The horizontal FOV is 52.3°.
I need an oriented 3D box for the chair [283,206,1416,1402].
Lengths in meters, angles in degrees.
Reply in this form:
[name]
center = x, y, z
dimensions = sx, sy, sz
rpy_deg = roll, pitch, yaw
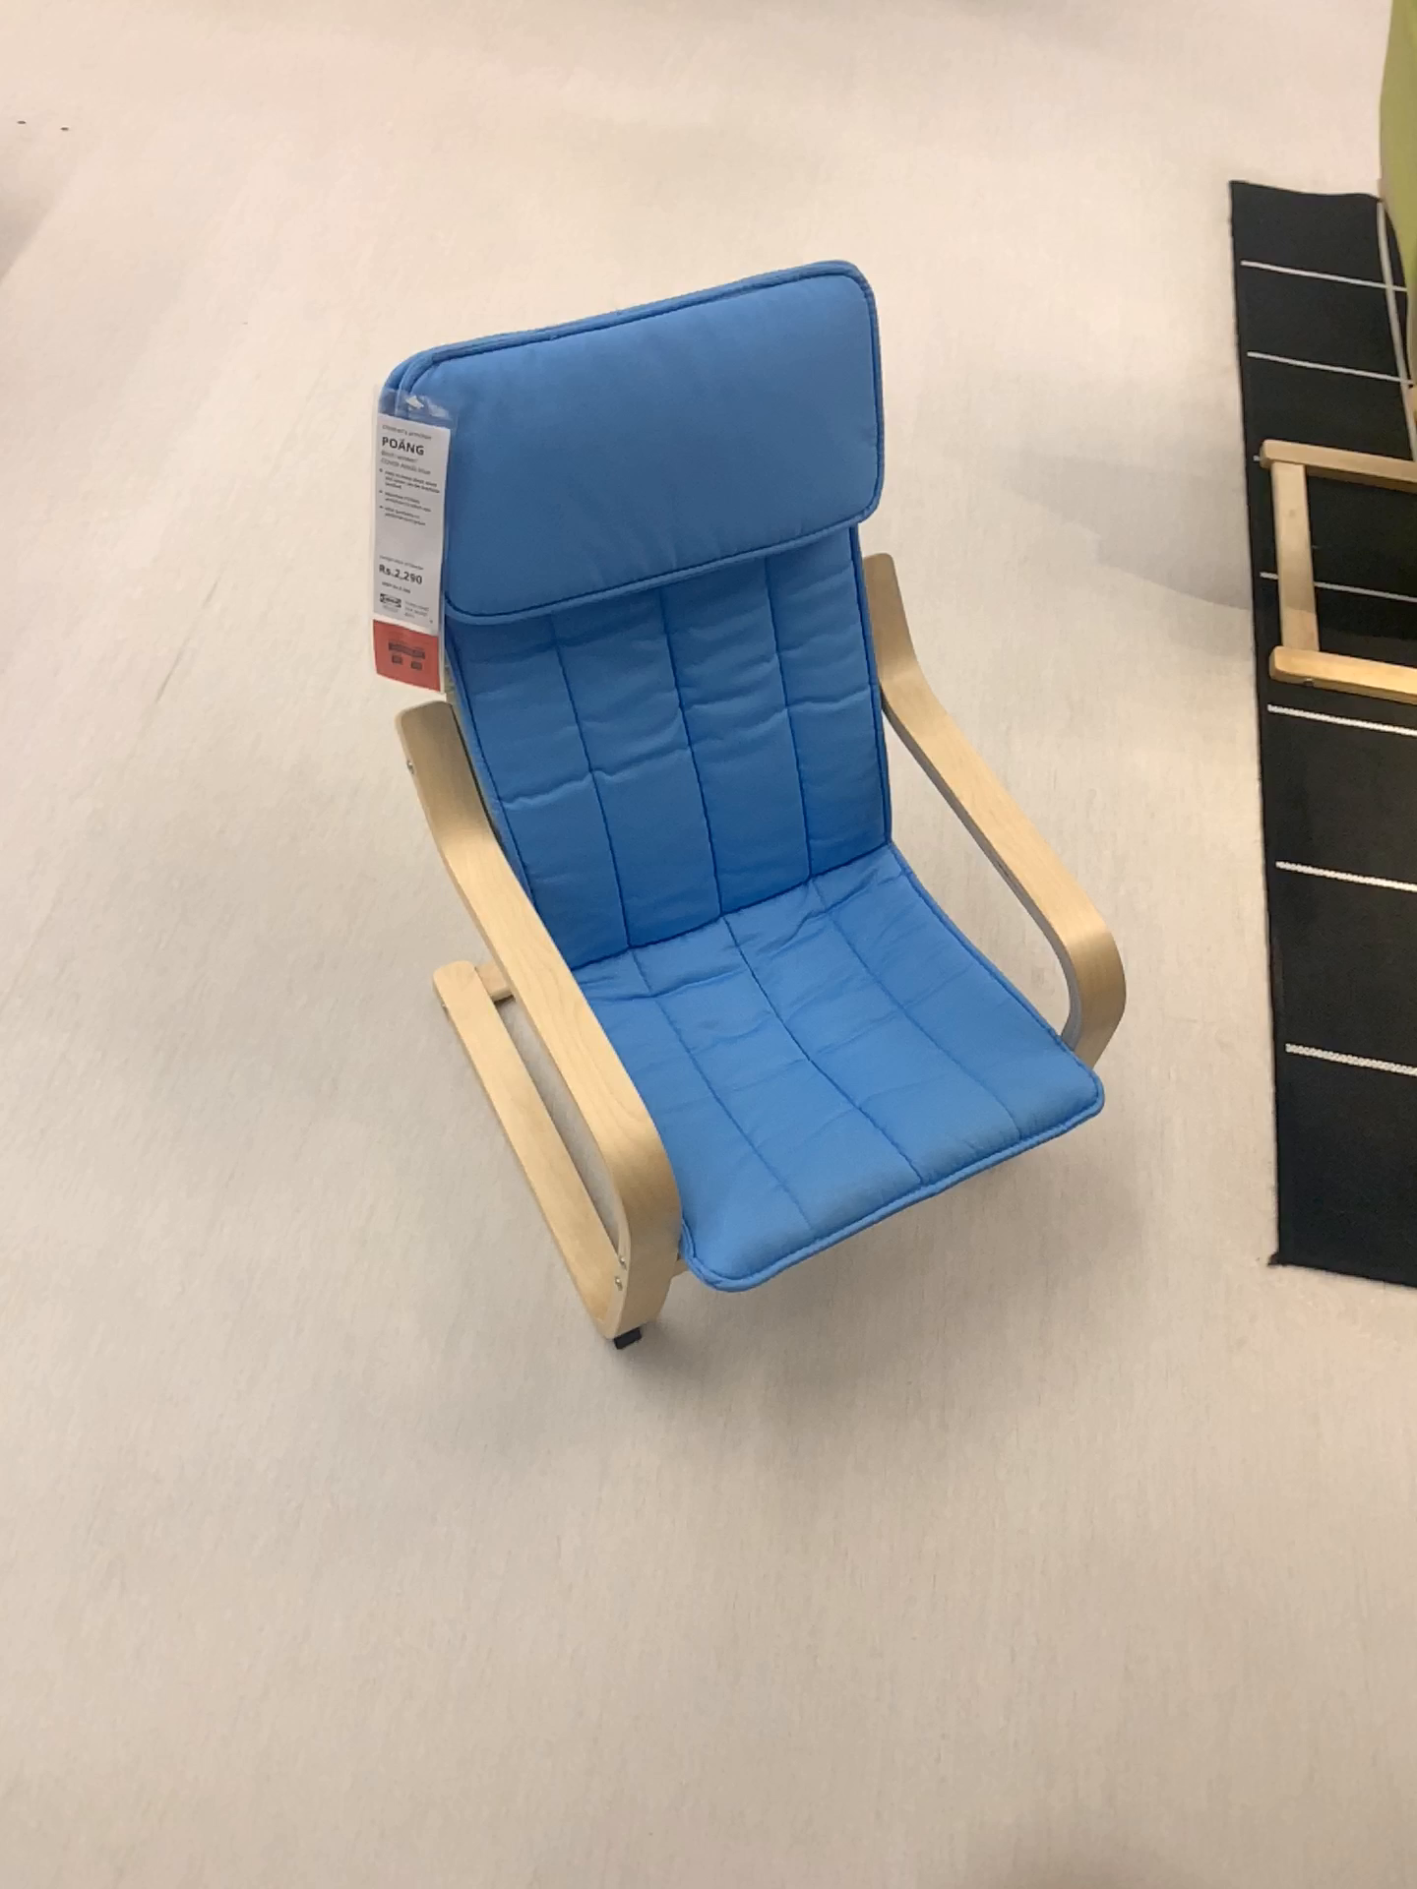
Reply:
[chair]
center = 0.059, -0.079, 1.117
dimensions = 0.510, 0.639, 0.501
rpy_deg = -22, 61, -18
